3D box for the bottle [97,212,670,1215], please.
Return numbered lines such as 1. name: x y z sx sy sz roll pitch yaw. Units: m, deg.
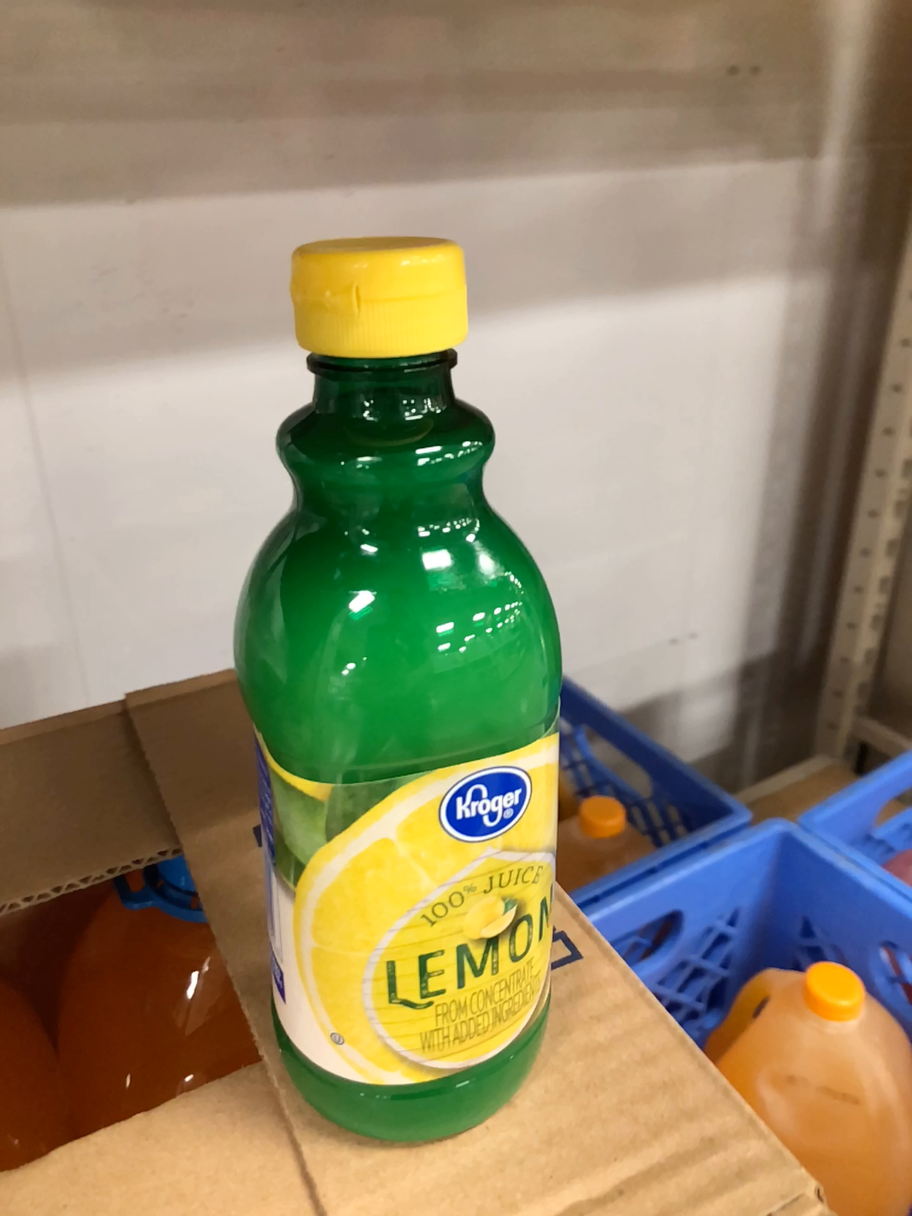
1. bottle: -0.011 0.020 0.213 0.070 0.184 0.070 -1 25 1
